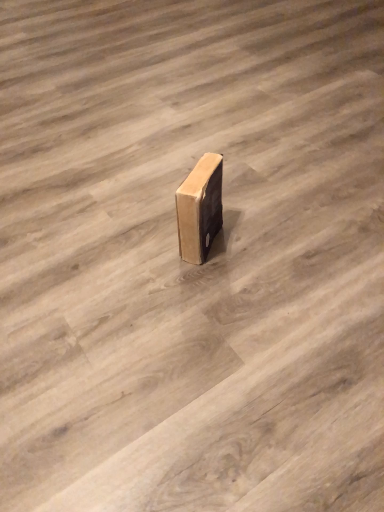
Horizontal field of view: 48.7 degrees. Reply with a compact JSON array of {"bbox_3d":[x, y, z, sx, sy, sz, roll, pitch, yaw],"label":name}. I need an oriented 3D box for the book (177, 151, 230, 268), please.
[{"bbox_3d":[0.029,-0.105,0.996,0.060,0.219,0.155,18,51,16],"label":"book"}]
